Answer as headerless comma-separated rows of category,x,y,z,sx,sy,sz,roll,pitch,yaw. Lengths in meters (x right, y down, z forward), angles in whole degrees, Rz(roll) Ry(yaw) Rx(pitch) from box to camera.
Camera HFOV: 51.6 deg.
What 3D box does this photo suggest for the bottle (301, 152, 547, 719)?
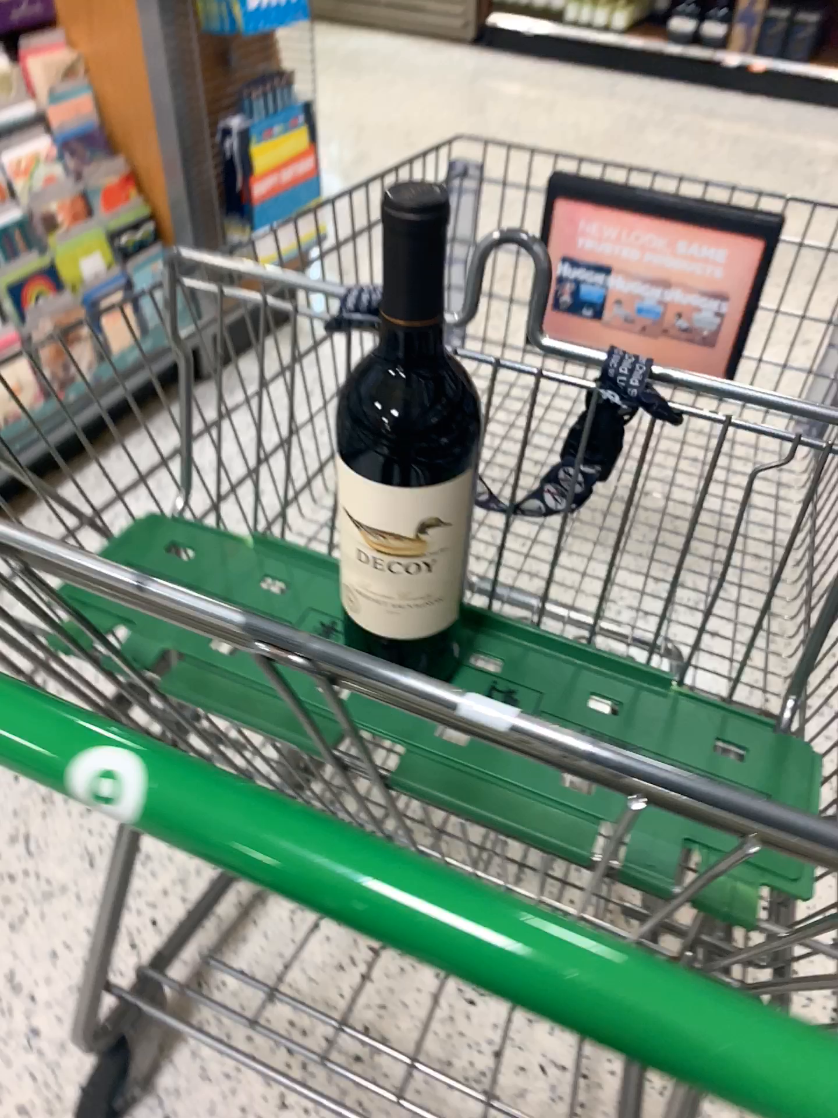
bottle,0.001,-0.048,0.477,0.090,0.297,0.091,2,42,-1
